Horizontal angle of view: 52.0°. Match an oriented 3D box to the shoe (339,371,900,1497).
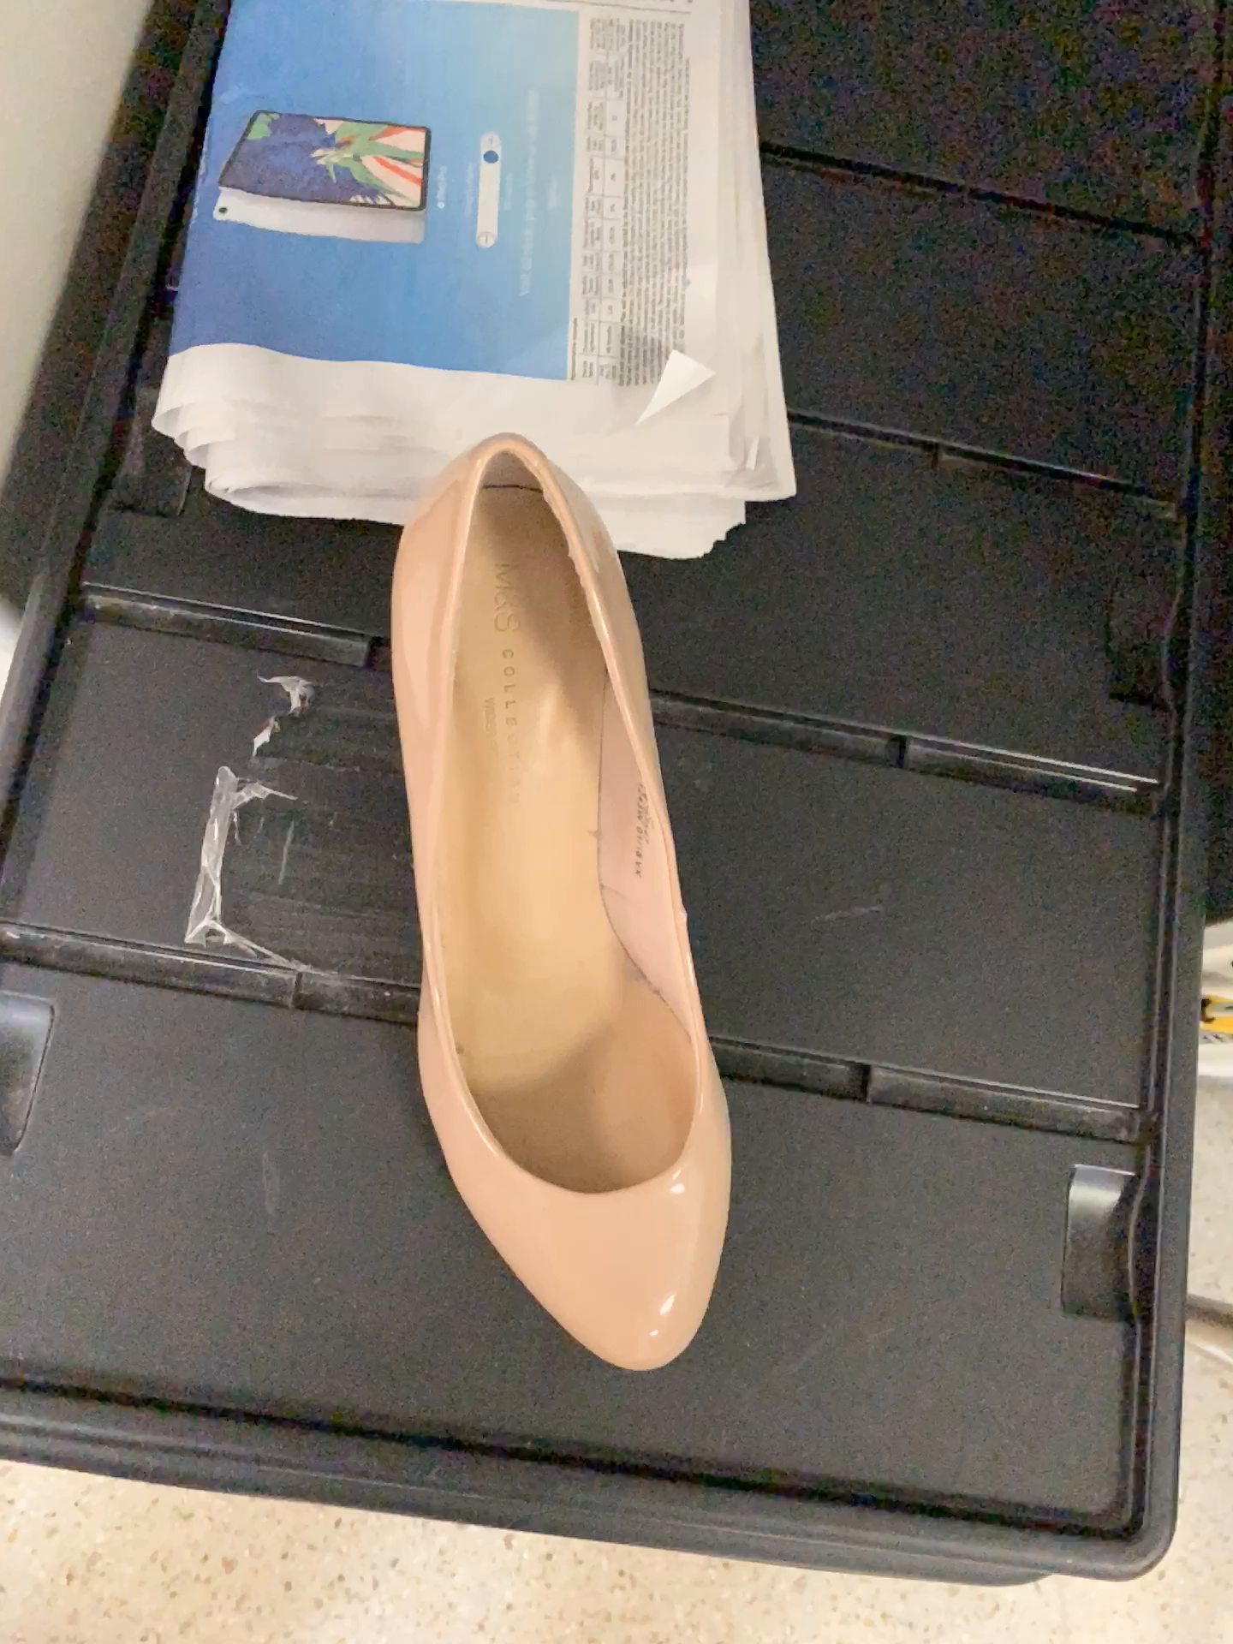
[{"bbox_3d":[-0.012,0.026,0.345,0.096,0.141,0.240,-5,77,-8],"label":"shoe"}]
